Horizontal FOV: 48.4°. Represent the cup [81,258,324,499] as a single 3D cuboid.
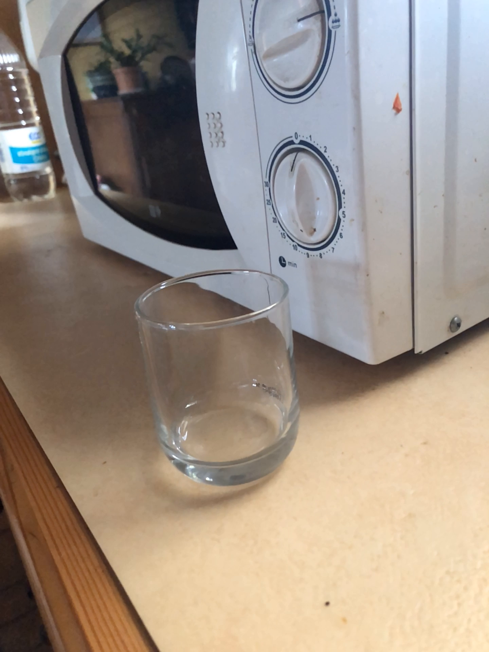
[{"bbox_3d":[-0.013,0.016,0.236,0.070,0.070,0.070,-6,24,3],"label":"cup"}]
